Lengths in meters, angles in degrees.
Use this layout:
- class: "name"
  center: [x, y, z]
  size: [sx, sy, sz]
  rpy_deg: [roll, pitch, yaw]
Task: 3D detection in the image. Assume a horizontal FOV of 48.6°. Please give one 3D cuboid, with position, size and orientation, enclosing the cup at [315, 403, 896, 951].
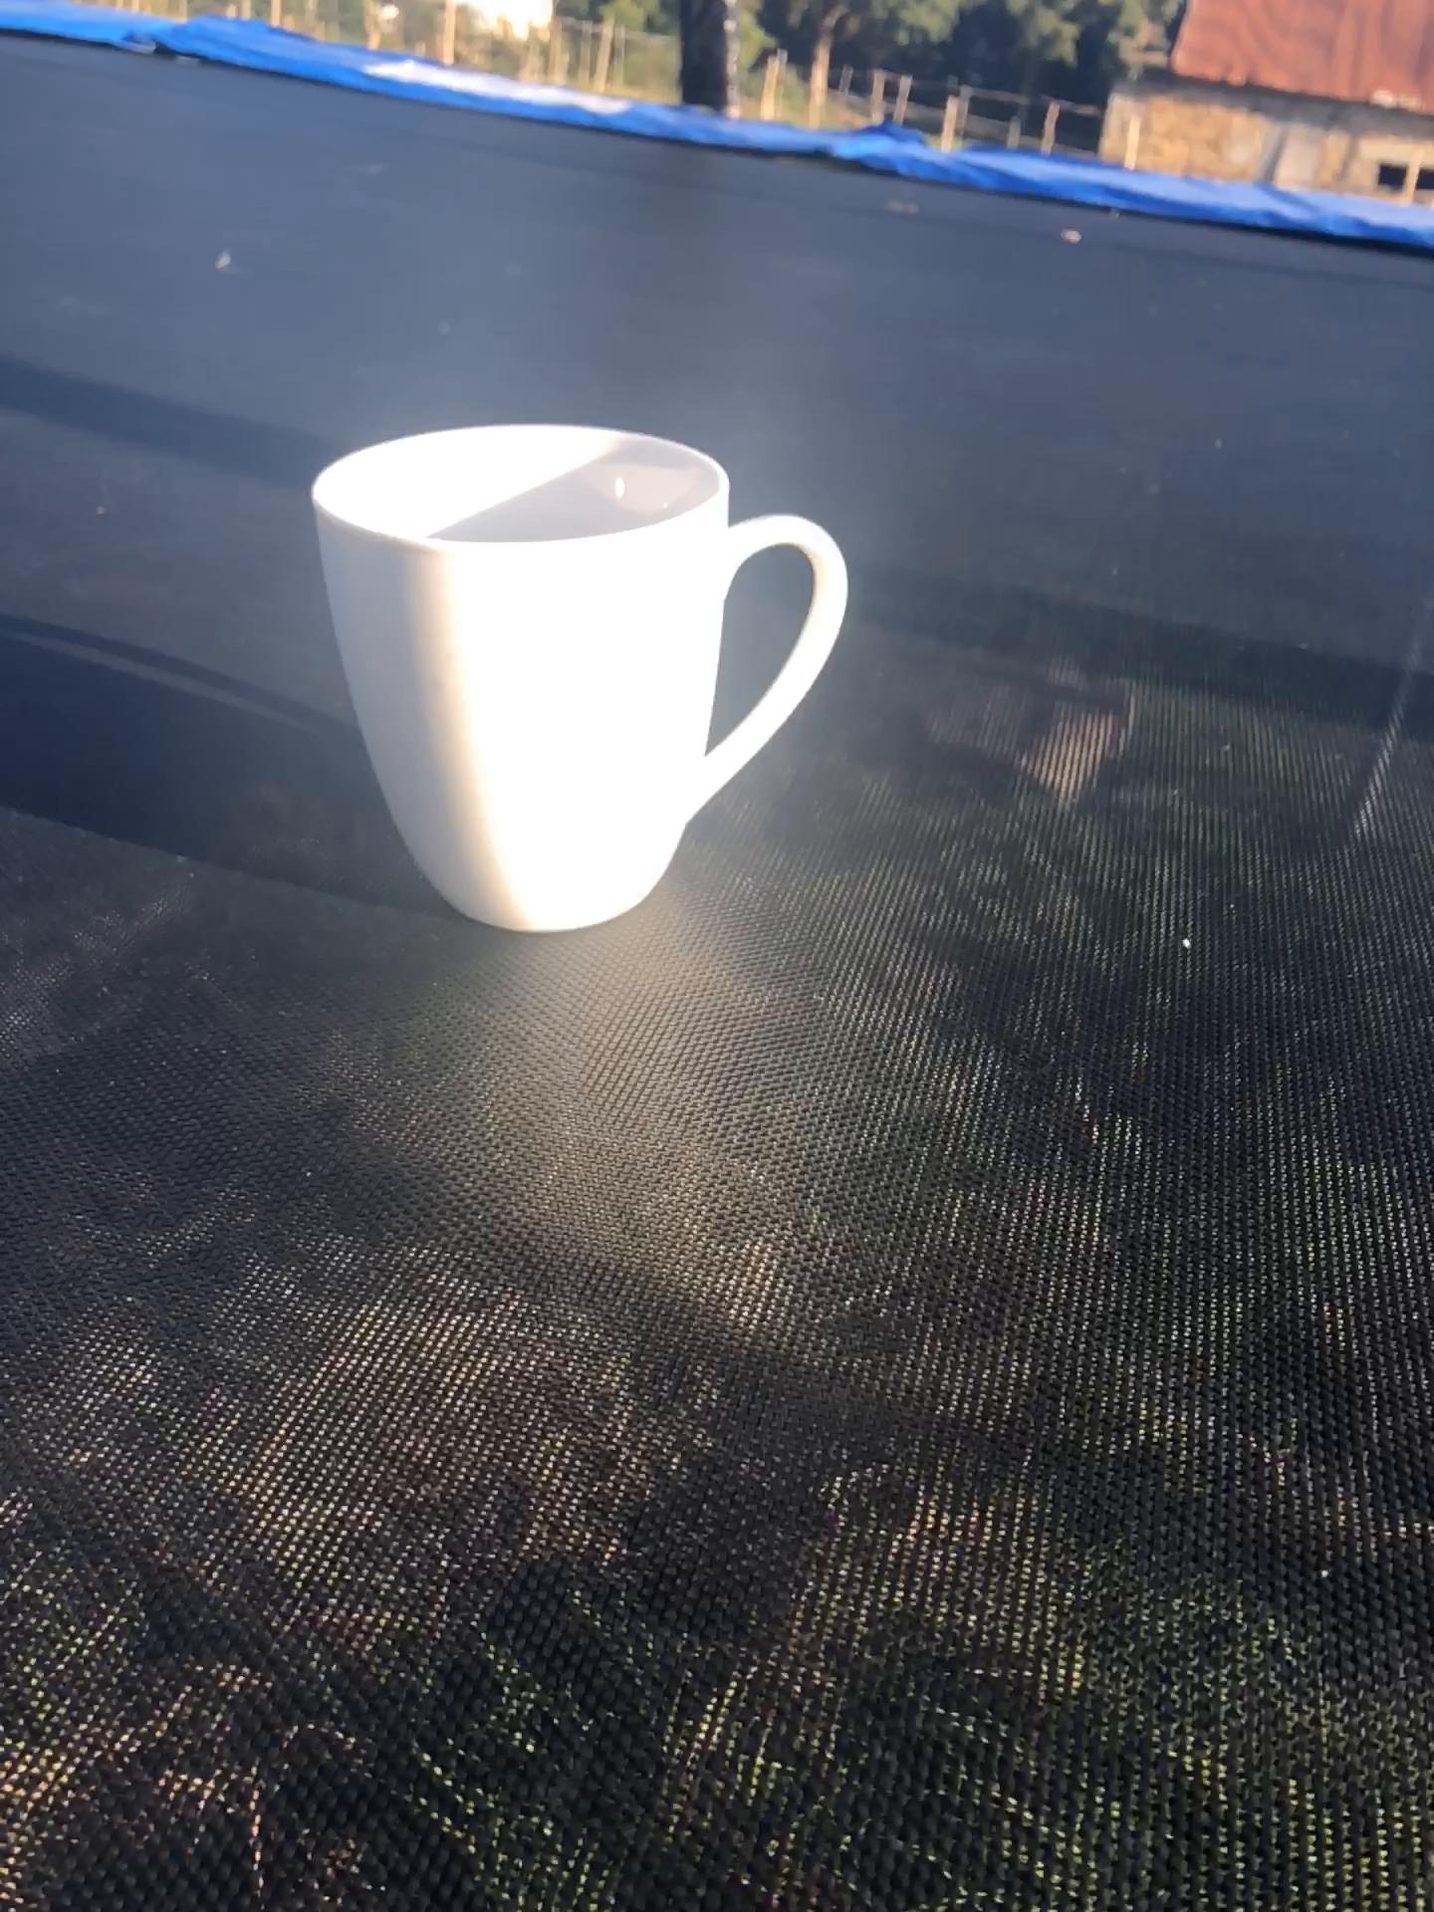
- class: "cup"
  center: [-0.032, -0.072, 0.380]
  size: [0.110, 0.089, 0.100]
  rpy_deg: [2, 33, -1]
